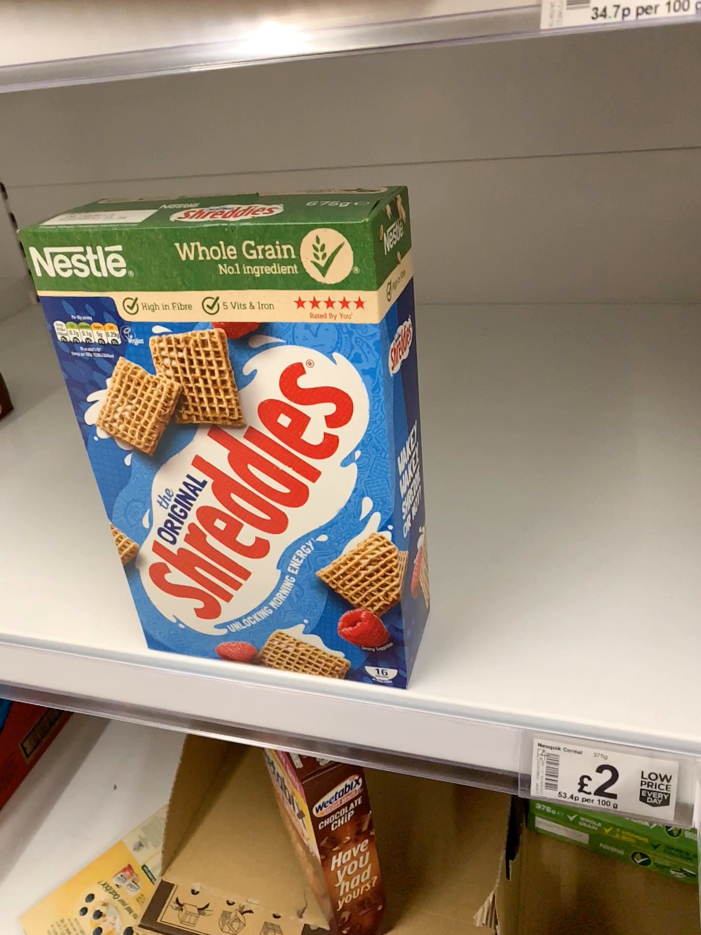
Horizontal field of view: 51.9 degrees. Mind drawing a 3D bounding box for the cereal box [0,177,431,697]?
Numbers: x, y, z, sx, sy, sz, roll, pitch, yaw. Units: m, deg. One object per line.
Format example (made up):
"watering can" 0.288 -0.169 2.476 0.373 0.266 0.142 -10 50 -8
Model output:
"cereal box" -0.064 -0.010 0.435 0.200 0.287 0.081 4 32 18
